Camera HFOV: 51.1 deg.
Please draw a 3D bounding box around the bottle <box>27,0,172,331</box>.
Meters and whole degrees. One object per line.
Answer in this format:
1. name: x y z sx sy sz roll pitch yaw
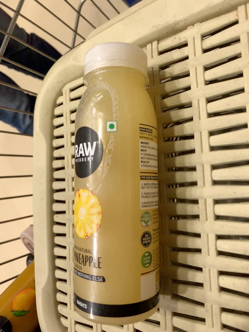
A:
1. bottle: -0.012 0.000 0.151 0.060 0.050 0.160 -3 82 38
